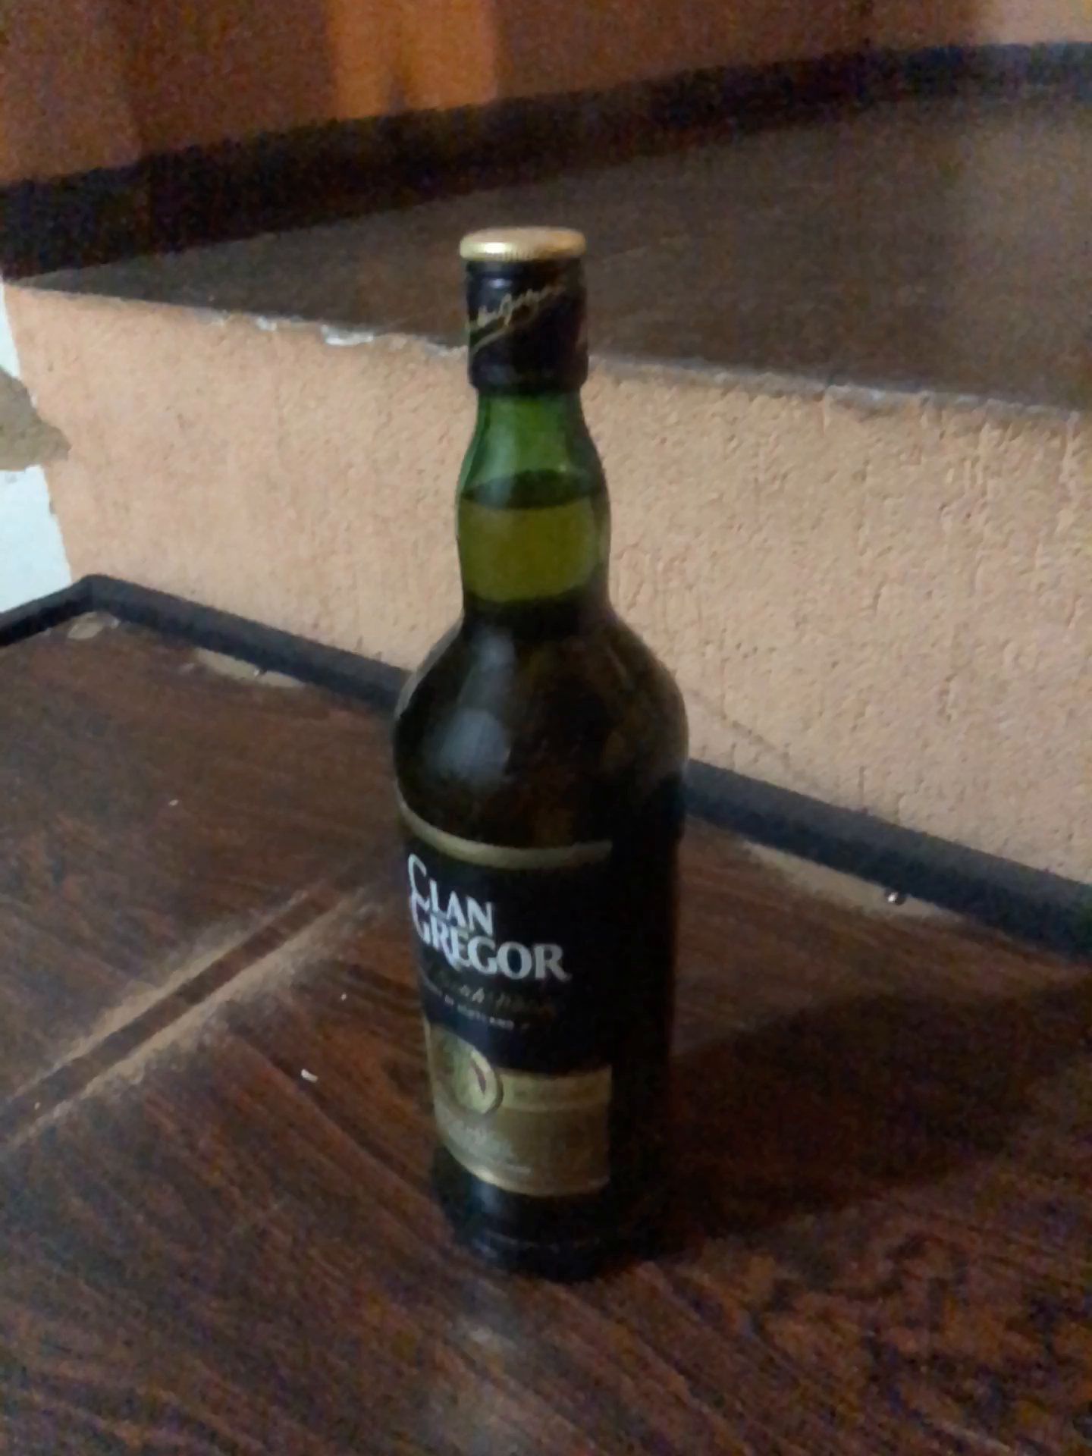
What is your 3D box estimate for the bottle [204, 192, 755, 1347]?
[{"bbox_3d":[-0.006,0.024,0.339,0.090,0.308,0.080,23,40,38],"label":"bottle"}]
